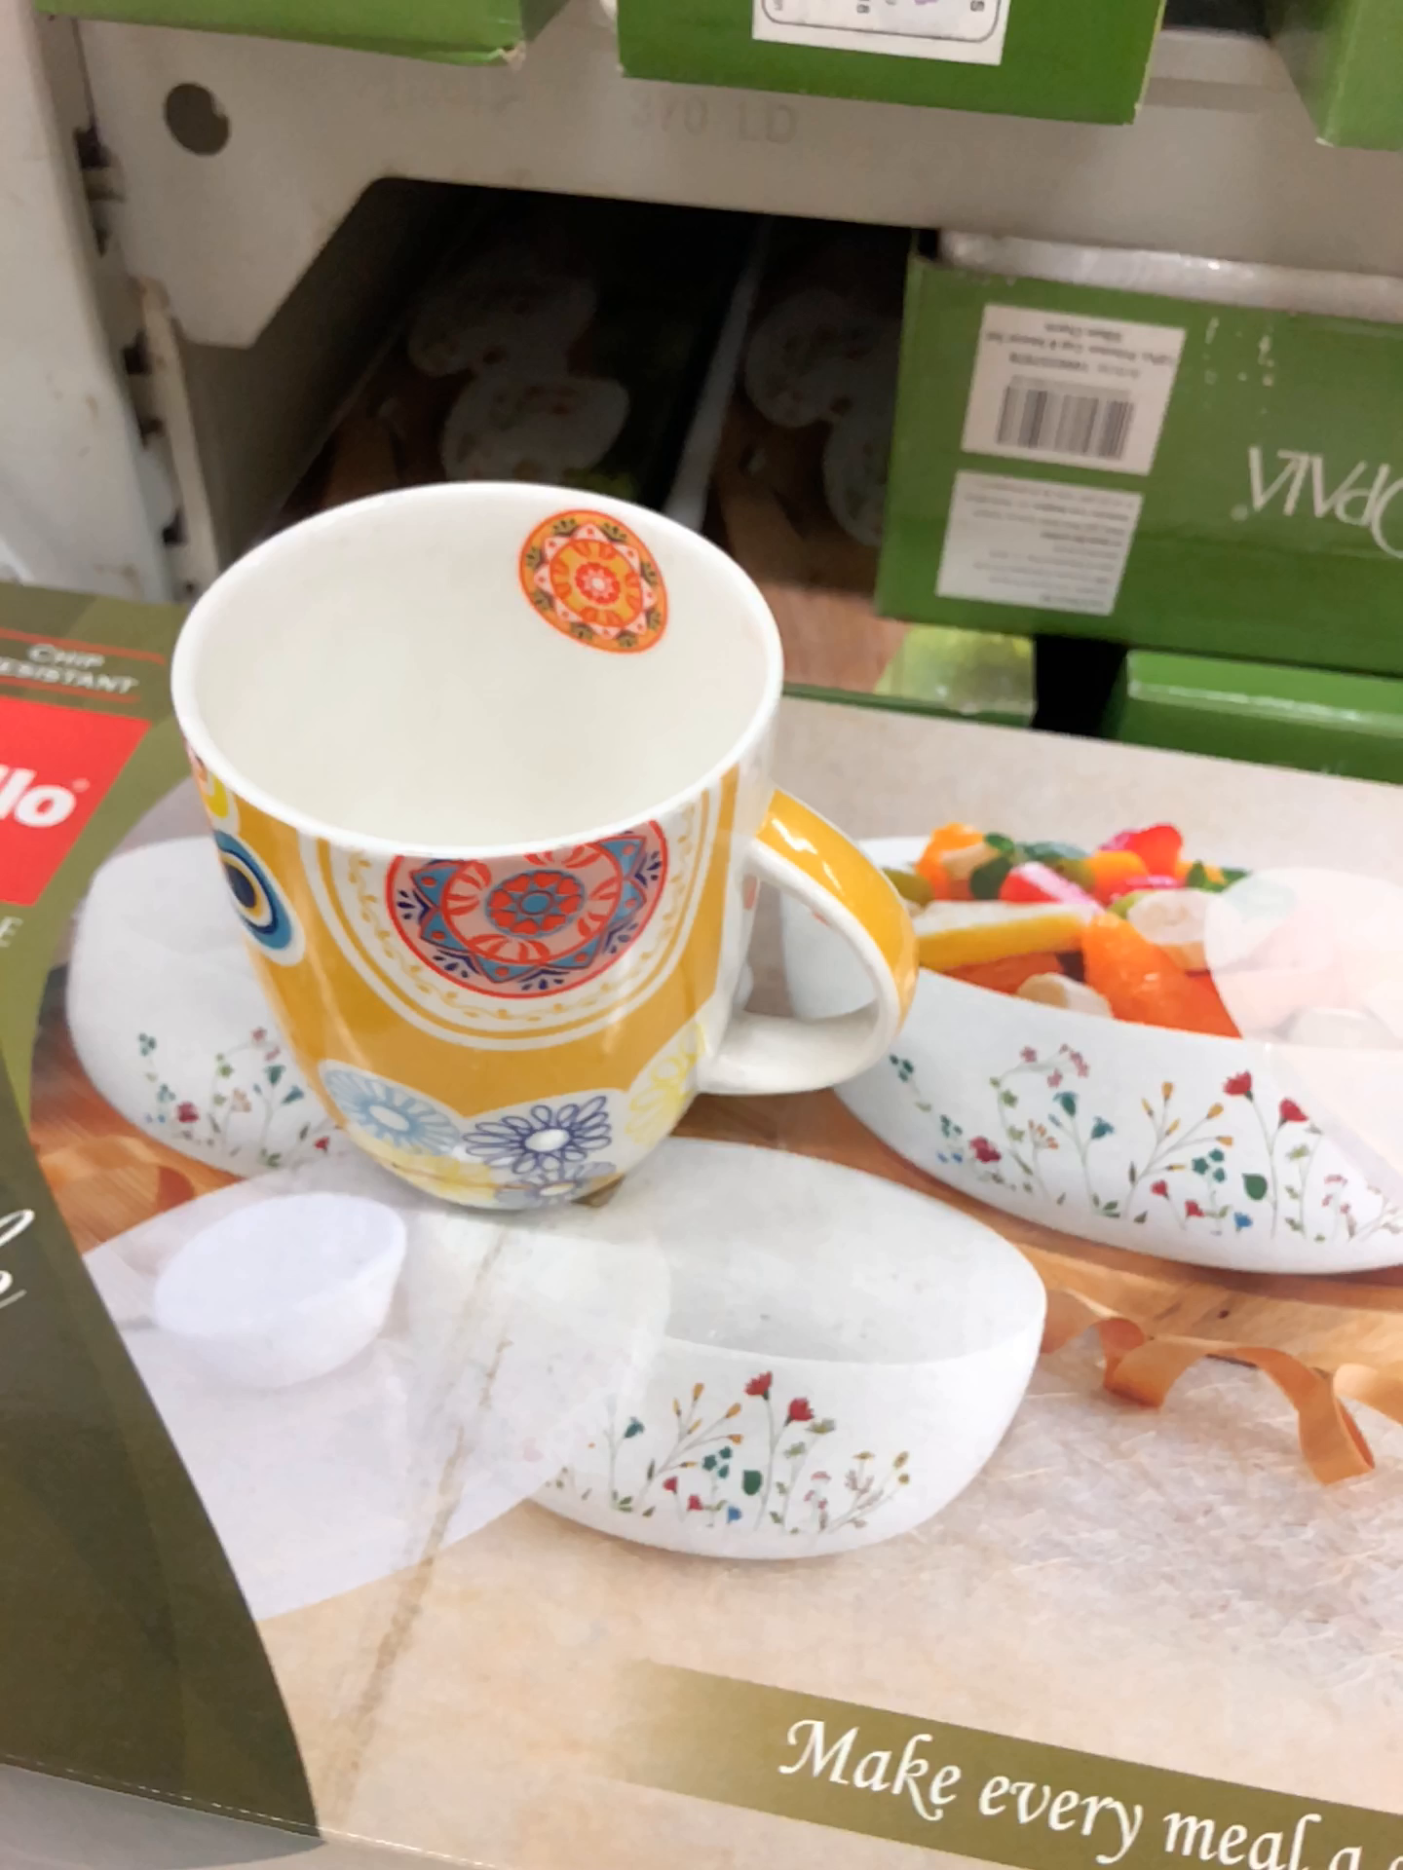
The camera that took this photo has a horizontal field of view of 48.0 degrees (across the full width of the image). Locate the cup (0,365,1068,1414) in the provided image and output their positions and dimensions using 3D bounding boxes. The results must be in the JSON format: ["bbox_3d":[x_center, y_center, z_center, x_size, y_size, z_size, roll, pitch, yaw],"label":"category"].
[{"bbox_3d":[-0.023,-0.011,0.234,0.120,0.089,0.091,17,46,12],"label":"cup"}]
